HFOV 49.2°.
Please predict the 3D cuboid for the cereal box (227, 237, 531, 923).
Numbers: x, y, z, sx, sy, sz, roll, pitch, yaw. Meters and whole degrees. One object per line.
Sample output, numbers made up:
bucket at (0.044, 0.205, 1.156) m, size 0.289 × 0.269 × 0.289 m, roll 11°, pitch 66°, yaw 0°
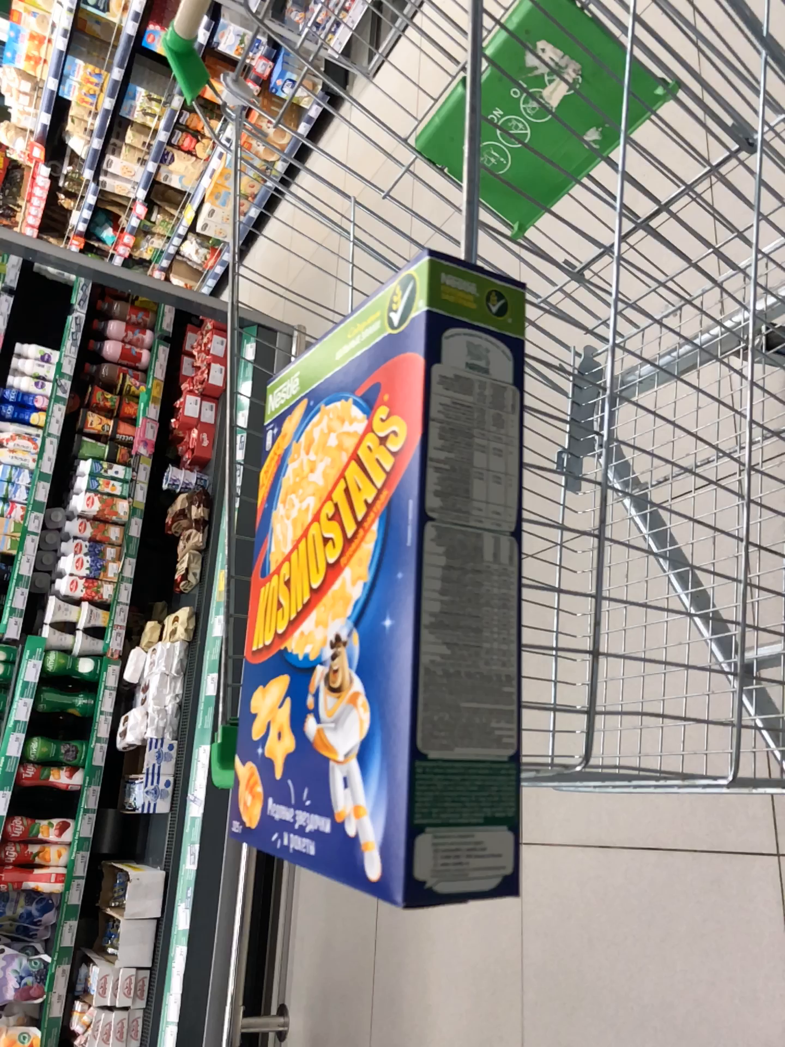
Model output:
cereal box at (-0.014, 0.032, 0.446) m, size 0.201 × 0.060 × 0.280 m, roll -21°, pitch 63°, yaw 60°
